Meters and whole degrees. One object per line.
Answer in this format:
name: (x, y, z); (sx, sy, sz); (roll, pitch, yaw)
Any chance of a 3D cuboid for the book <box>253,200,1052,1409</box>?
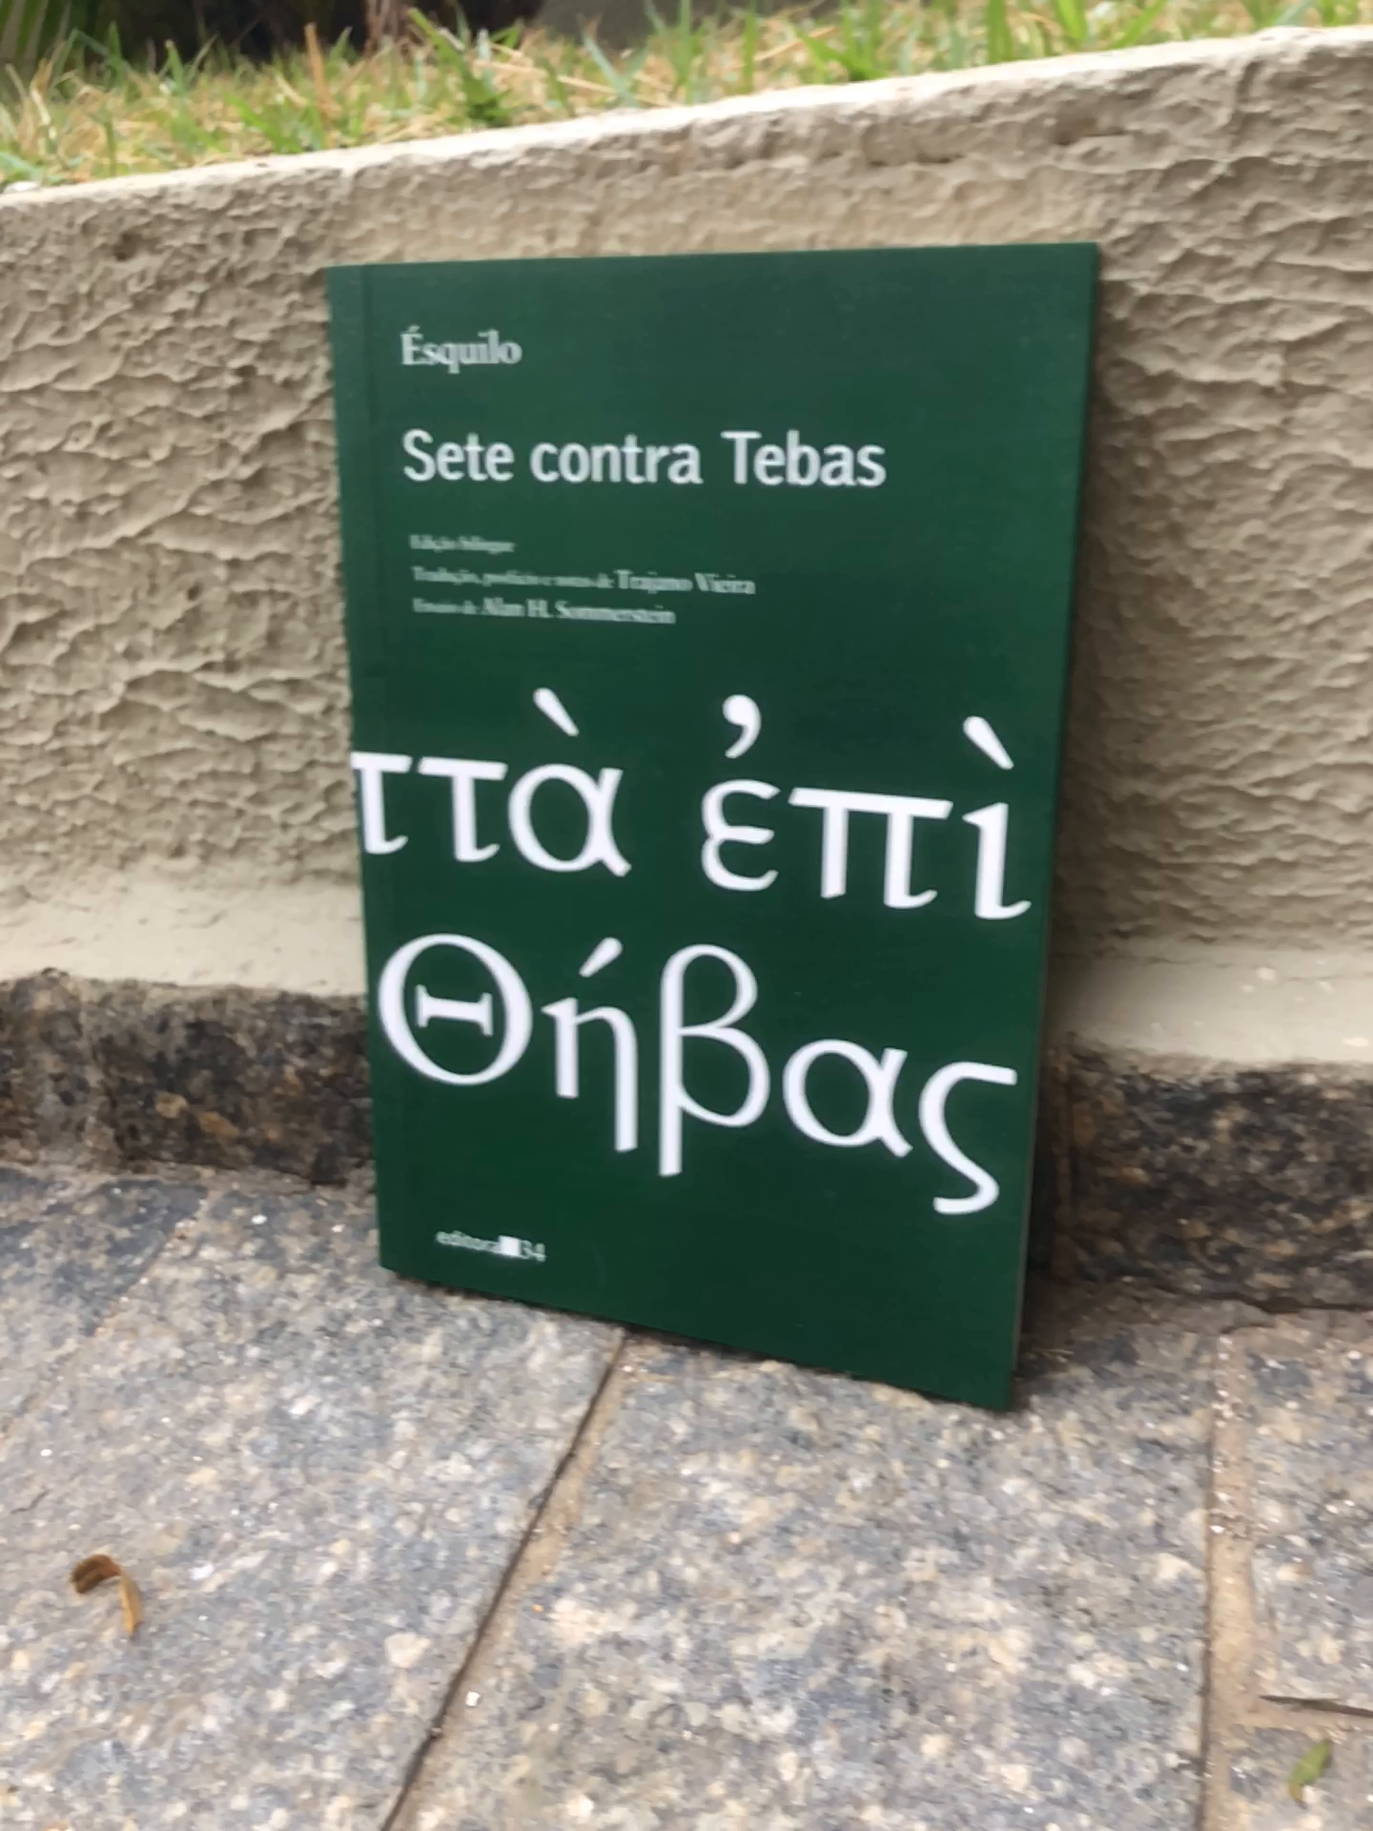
book: (-0.010, -0.018, 0.282); (0.140, 0.196, 0.020); (5, 14, 23)
